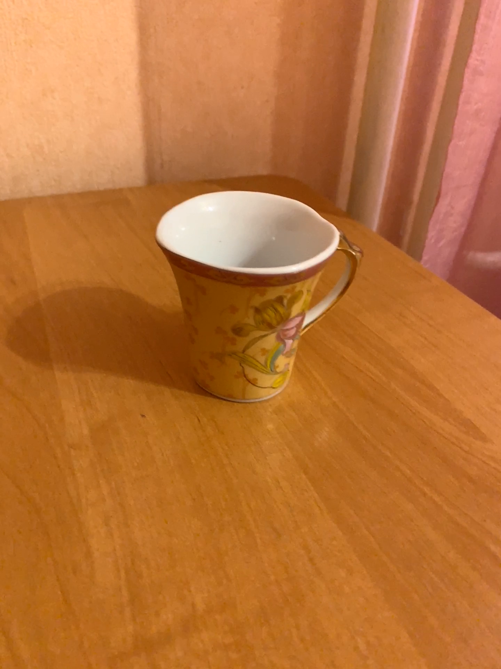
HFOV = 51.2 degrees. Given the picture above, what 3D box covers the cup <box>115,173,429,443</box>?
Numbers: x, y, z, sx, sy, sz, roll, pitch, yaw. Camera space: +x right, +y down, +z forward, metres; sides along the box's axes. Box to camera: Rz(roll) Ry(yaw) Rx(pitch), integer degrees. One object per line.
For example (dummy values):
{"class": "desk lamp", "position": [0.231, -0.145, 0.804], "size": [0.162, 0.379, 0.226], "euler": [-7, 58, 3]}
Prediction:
{"class": "cup", "position": [0.007, -0.019, 0.214], "size": [0.094, 0.061, 0.072], "euler": [-20, 40, -30]}
